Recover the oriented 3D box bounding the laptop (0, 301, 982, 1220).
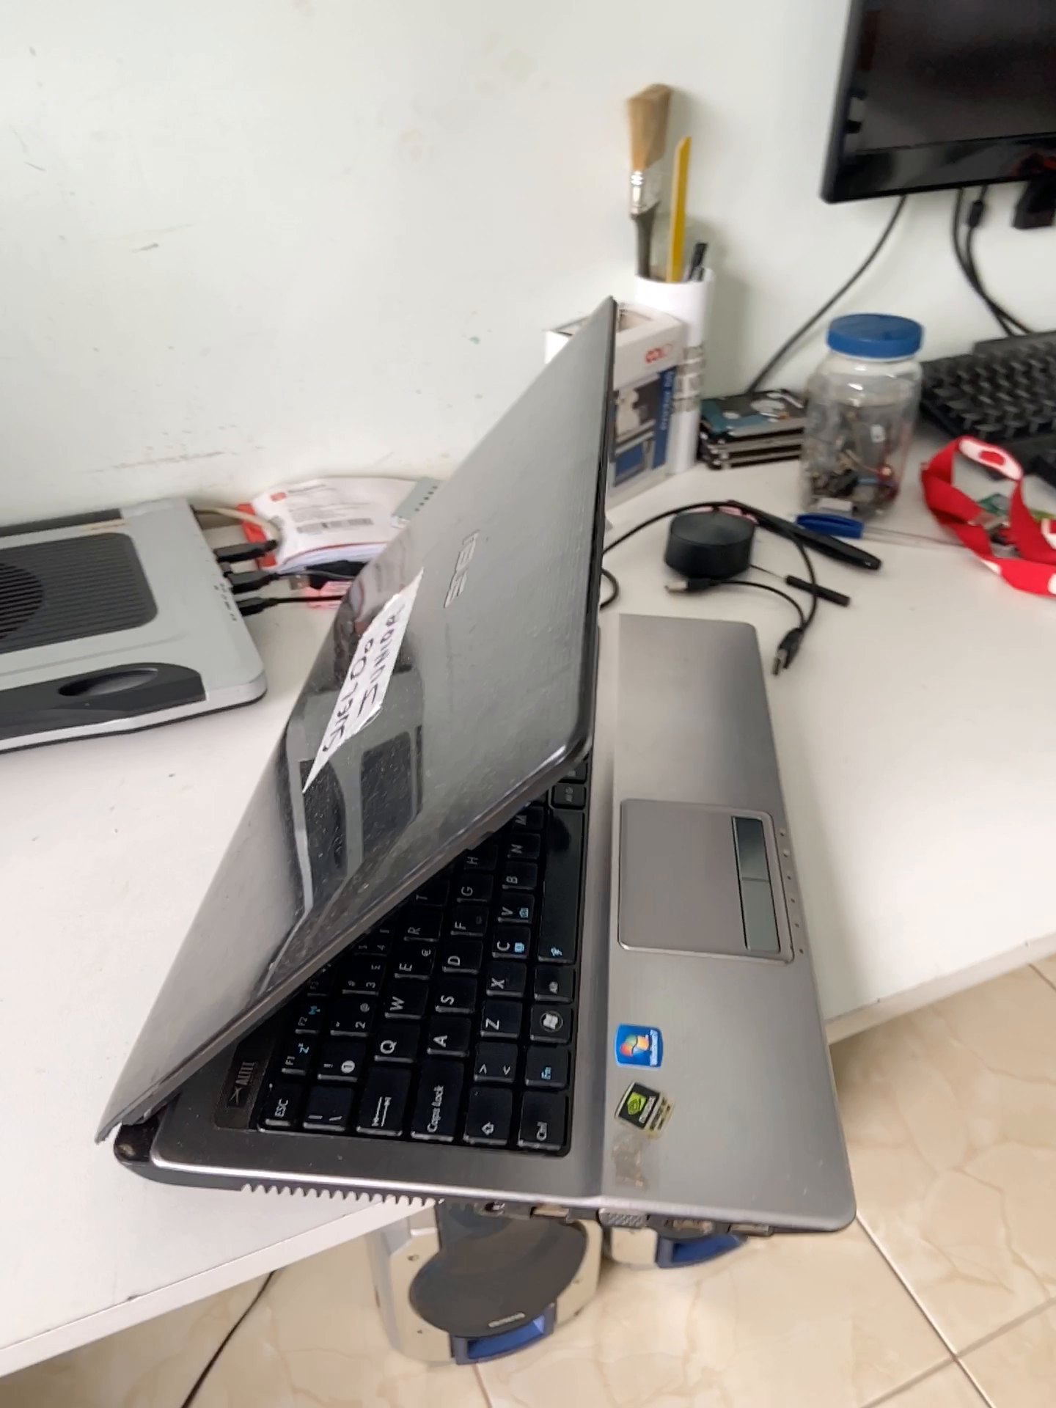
[{"bbox_3d":[-0.001,-0.023,0.462,0.246,0.182,0.379,3,35,4],"label":"laptop"}]
